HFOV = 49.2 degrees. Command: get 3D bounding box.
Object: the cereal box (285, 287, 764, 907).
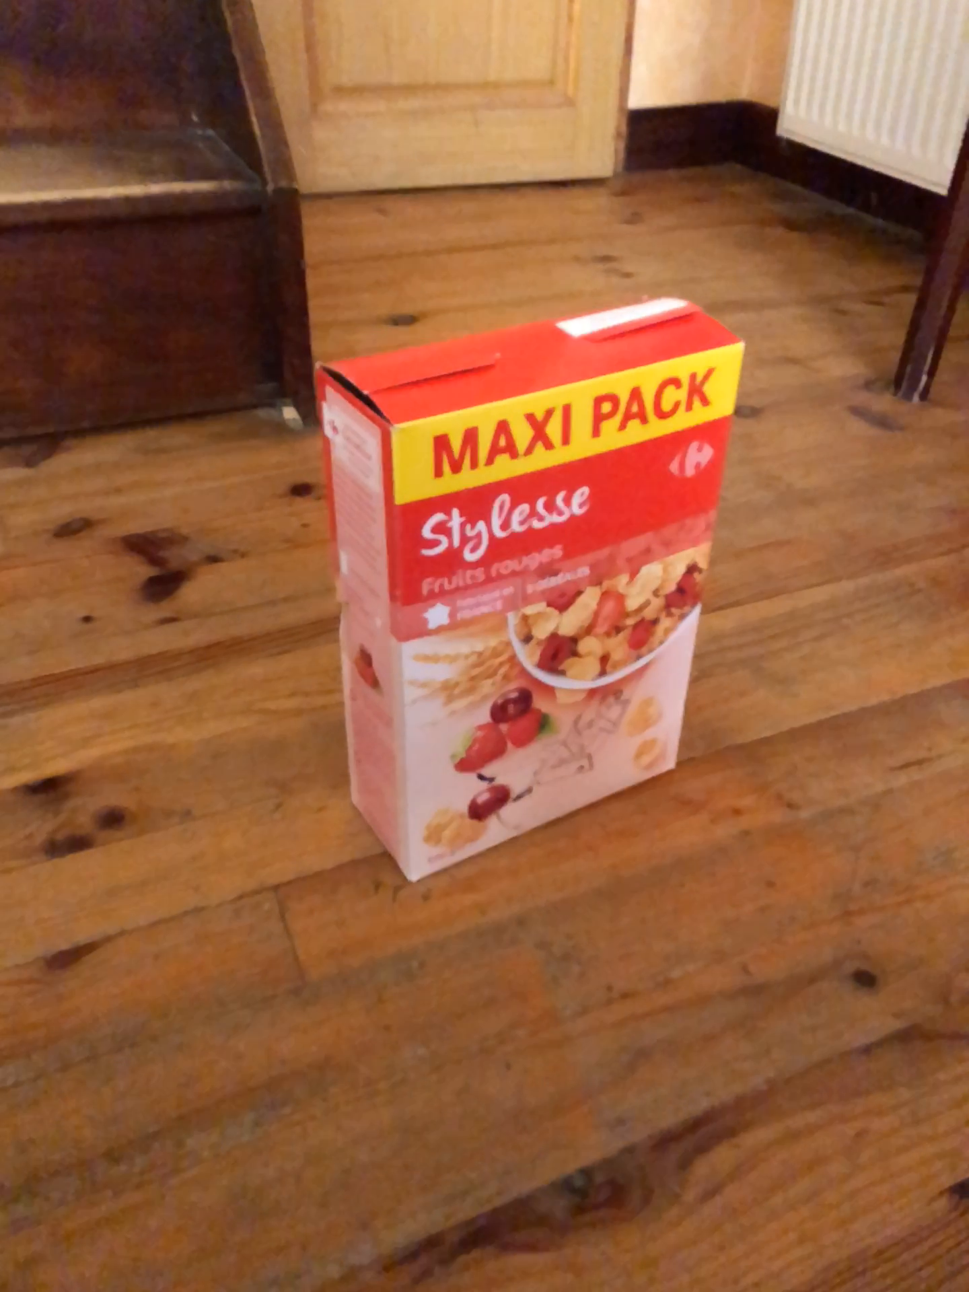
[{"bbox_3d":[0.019,-0.024,0.584,0.211,0.288,0.090,-19,41,-25],"label":"cereal box"}]
